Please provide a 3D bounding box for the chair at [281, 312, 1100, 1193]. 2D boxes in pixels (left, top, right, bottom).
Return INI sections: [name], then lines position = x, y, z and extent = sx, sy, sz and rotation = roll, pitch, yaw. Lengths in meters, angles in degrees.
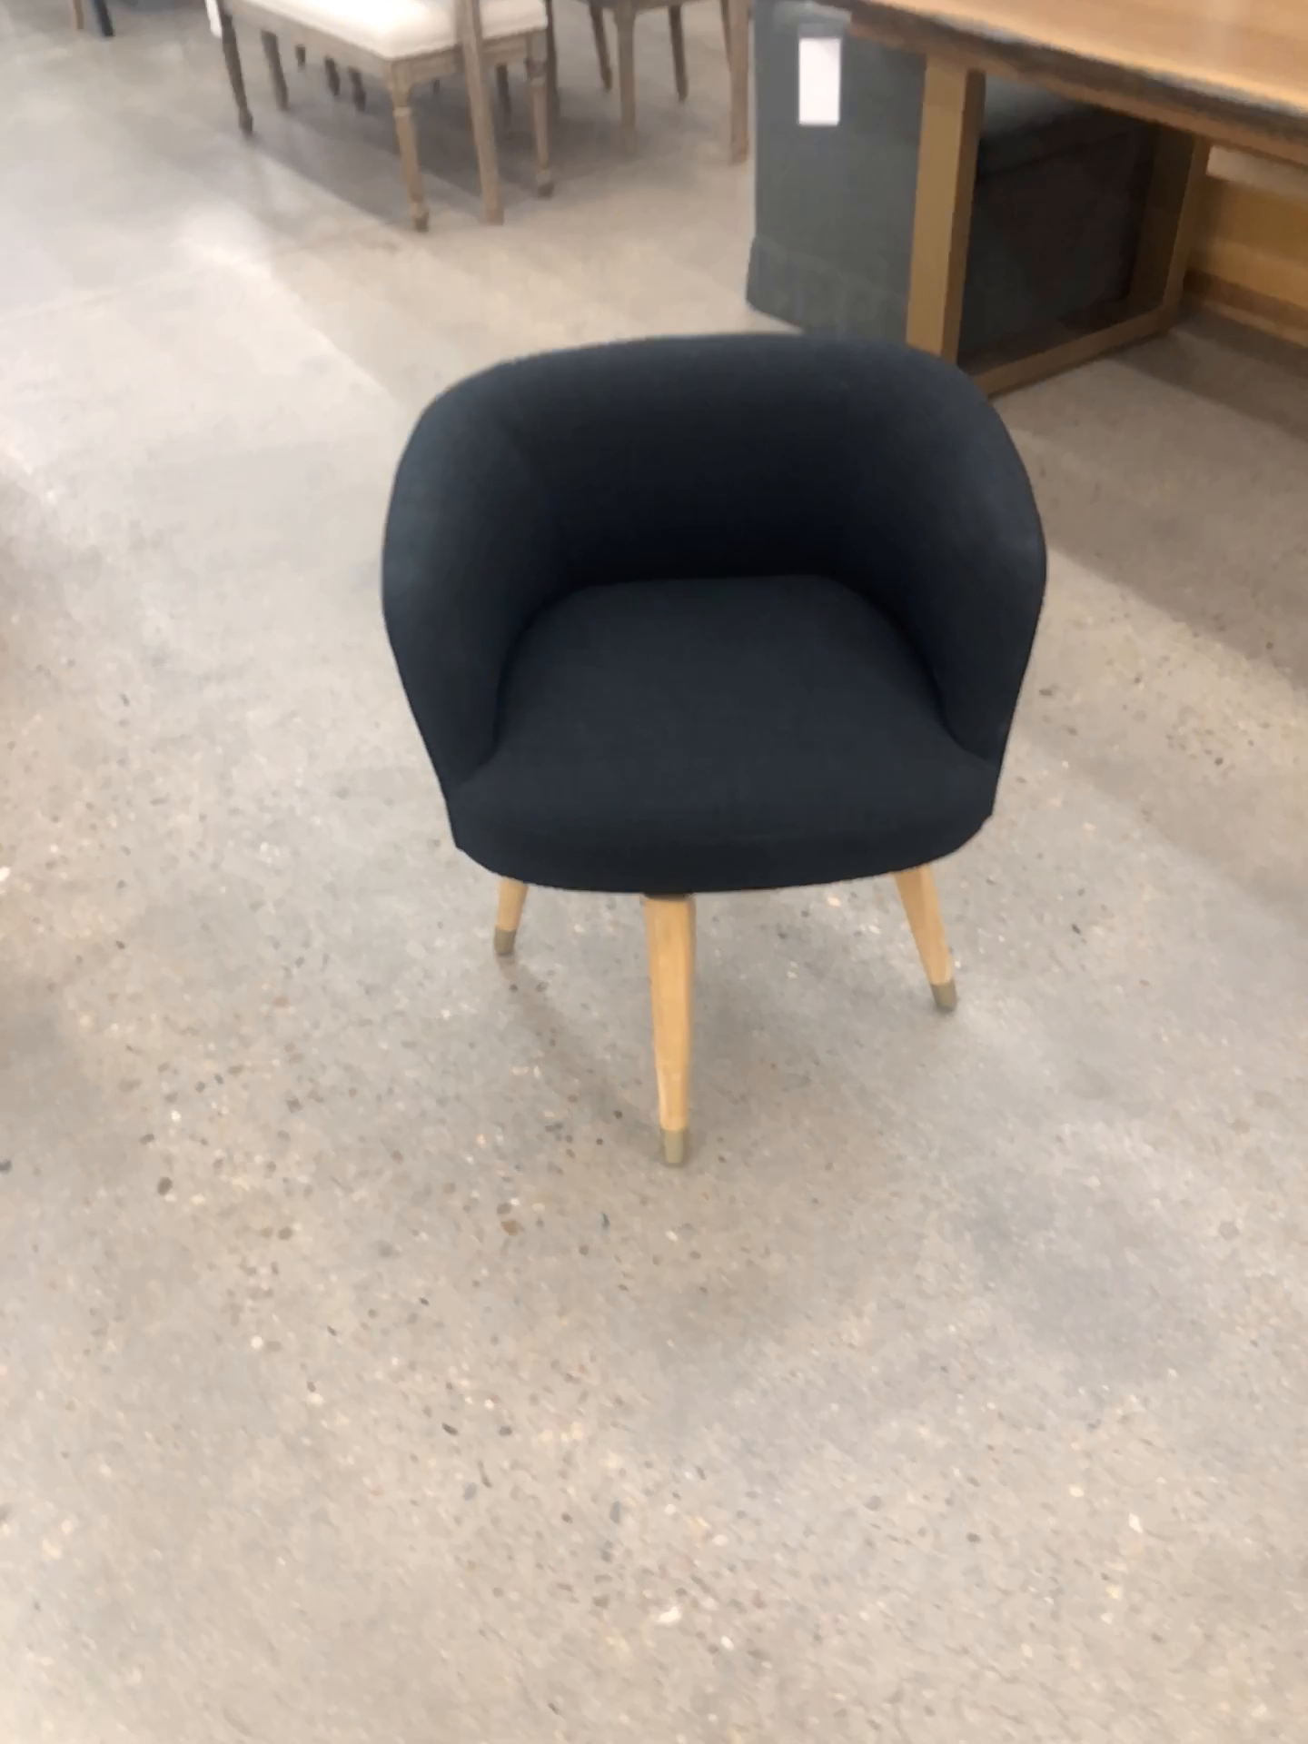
[chair]
position = 0.059, -0.127, 1.501
extent = 0.602, 0.670, 0.606
rotation = 1, 42, 5
